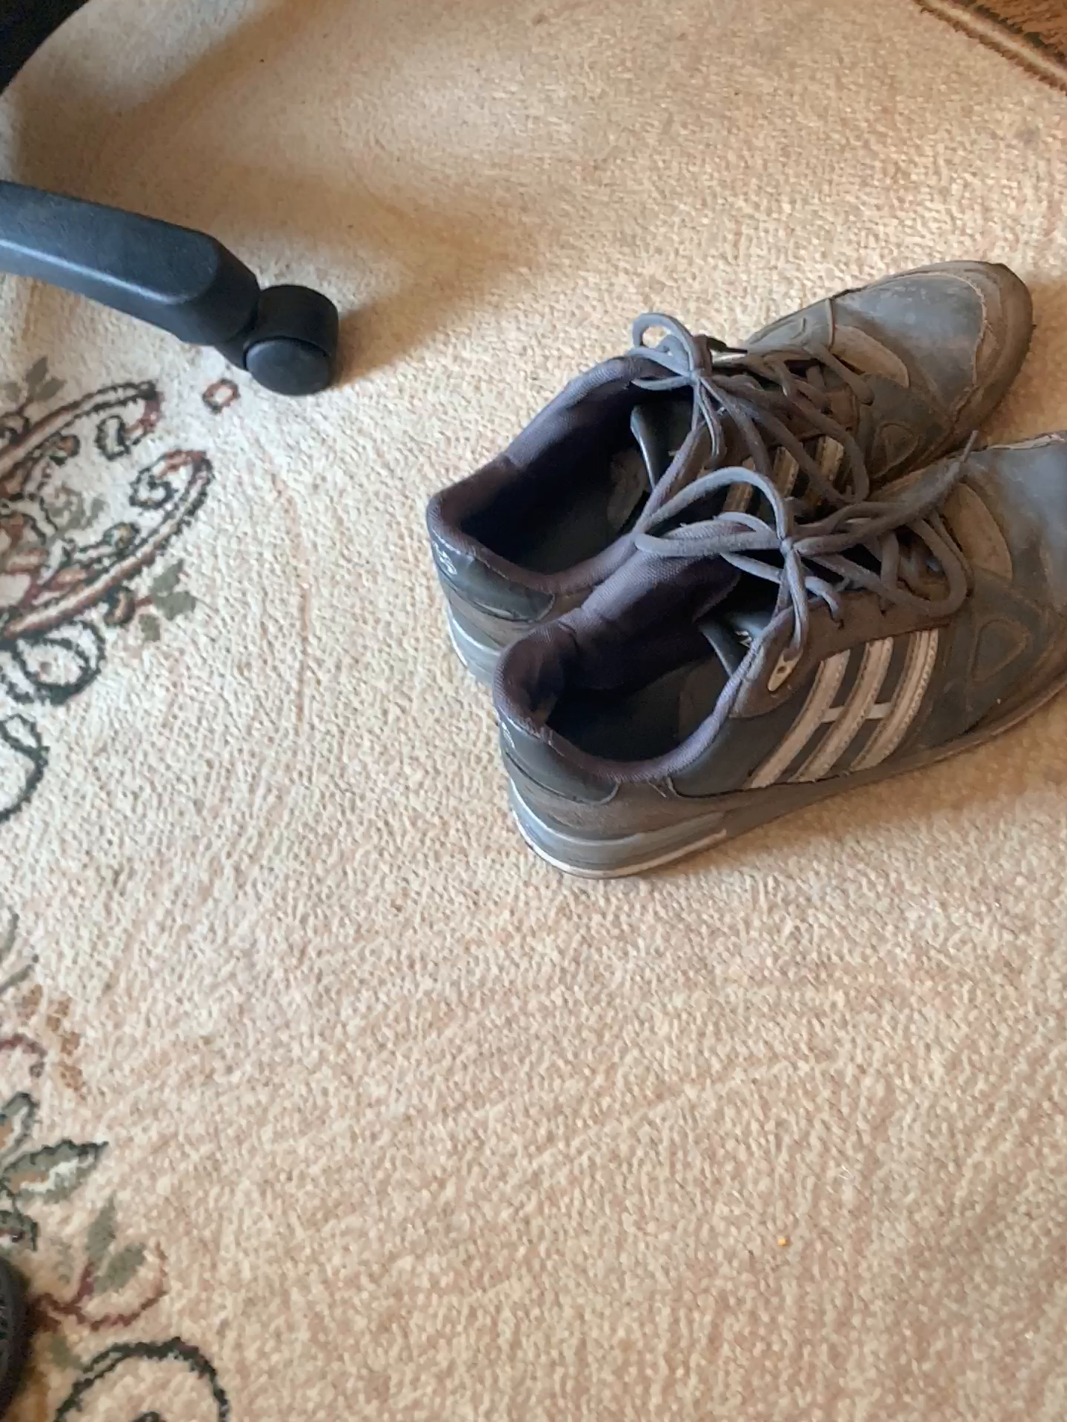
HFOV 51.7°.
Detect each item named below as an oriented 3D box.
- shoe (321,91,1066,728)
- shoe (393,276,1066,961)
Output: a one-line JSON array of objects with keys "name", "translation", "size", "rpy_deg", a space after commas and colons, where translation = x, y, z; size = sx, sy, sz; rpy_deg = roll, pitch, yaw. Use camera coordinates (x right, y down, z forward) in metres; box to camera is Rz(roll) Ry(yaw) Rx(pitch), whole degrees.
[{"name": "shoe", "translation": [0.077, -0.128, 0.502], "size": [0.310, 0.100, 0.121], "rpy_deg": [-27, 64, 5]}, {"name": "shoe", "translation": [0.118, -0.027, 0.444], "size": [0.312, 0.100, 0.117], "rpy_deg": [-27, 64, 5]}]
